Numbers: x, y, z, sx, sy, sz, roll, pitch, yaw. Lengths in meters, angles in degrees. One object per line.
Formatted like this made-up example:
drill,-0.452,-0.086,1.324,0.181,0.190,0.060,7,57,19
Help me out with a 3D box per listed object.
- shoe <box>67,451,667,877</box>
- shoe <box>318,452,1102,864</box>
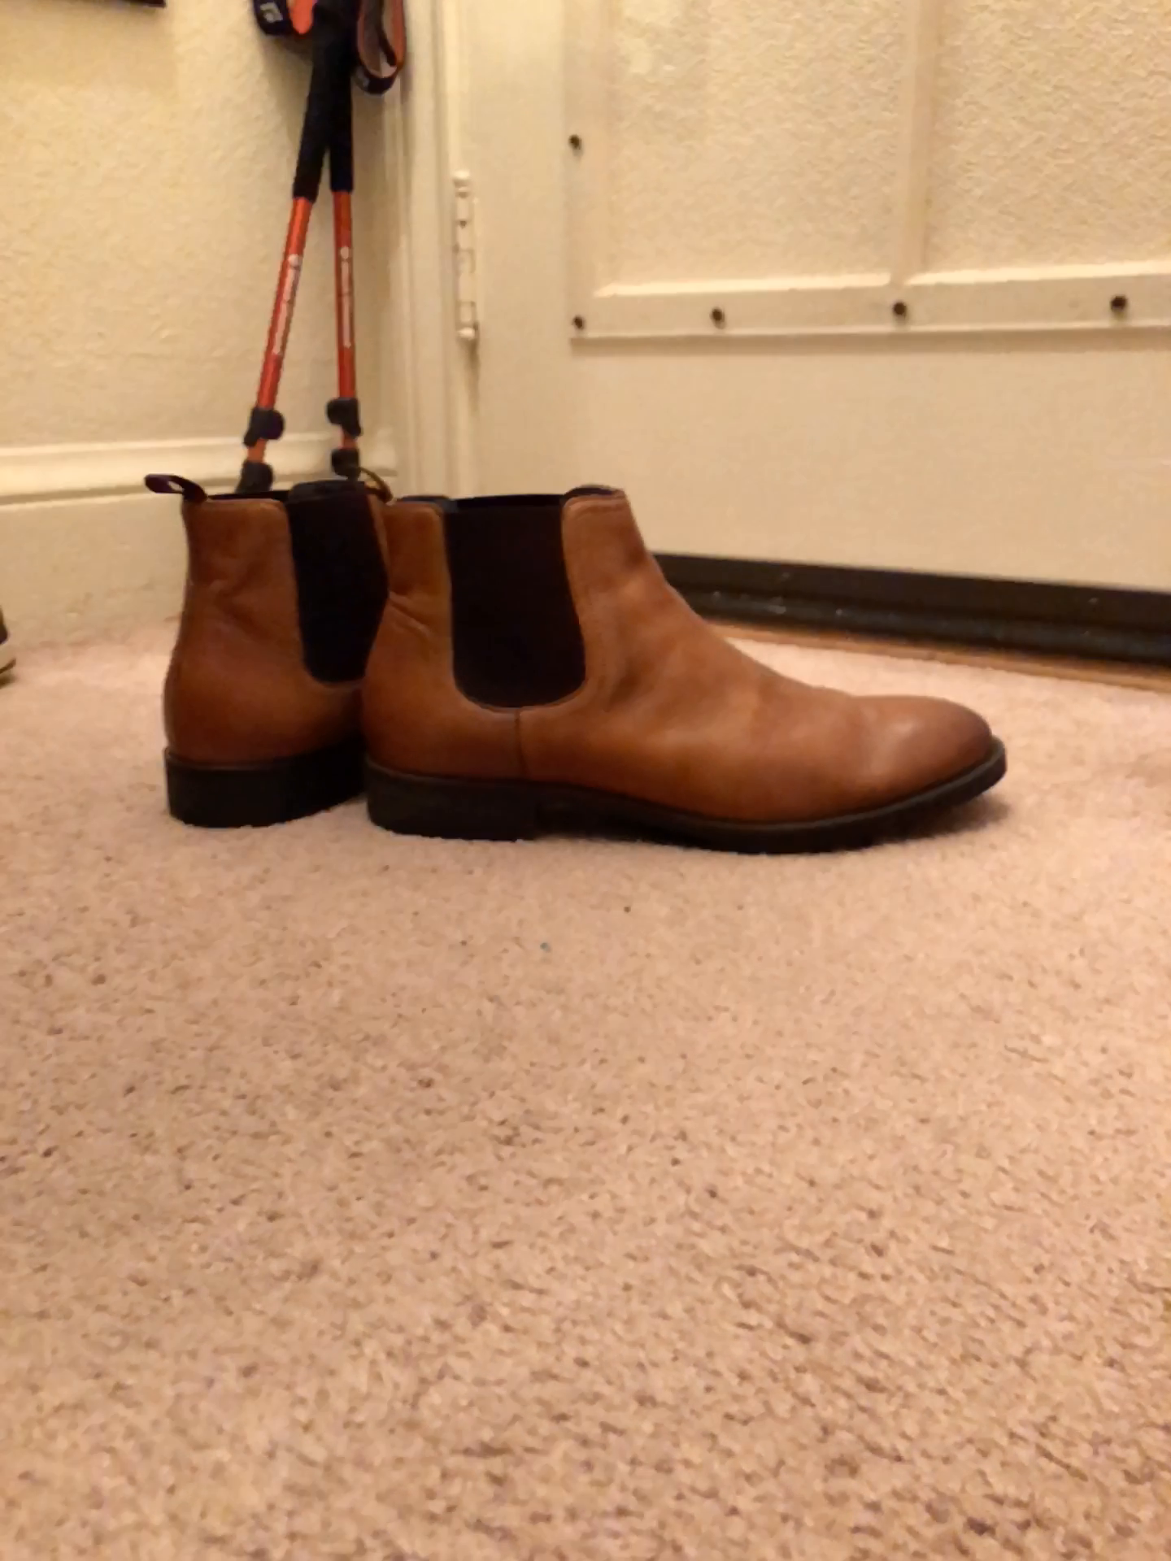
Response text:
shoe,-0.094,-0.083,0.695,0.109,0.165,0.313,14,22,38
shoe,0.051,-0.062,0.593,0.312,0.165,0.110,1,17,3
